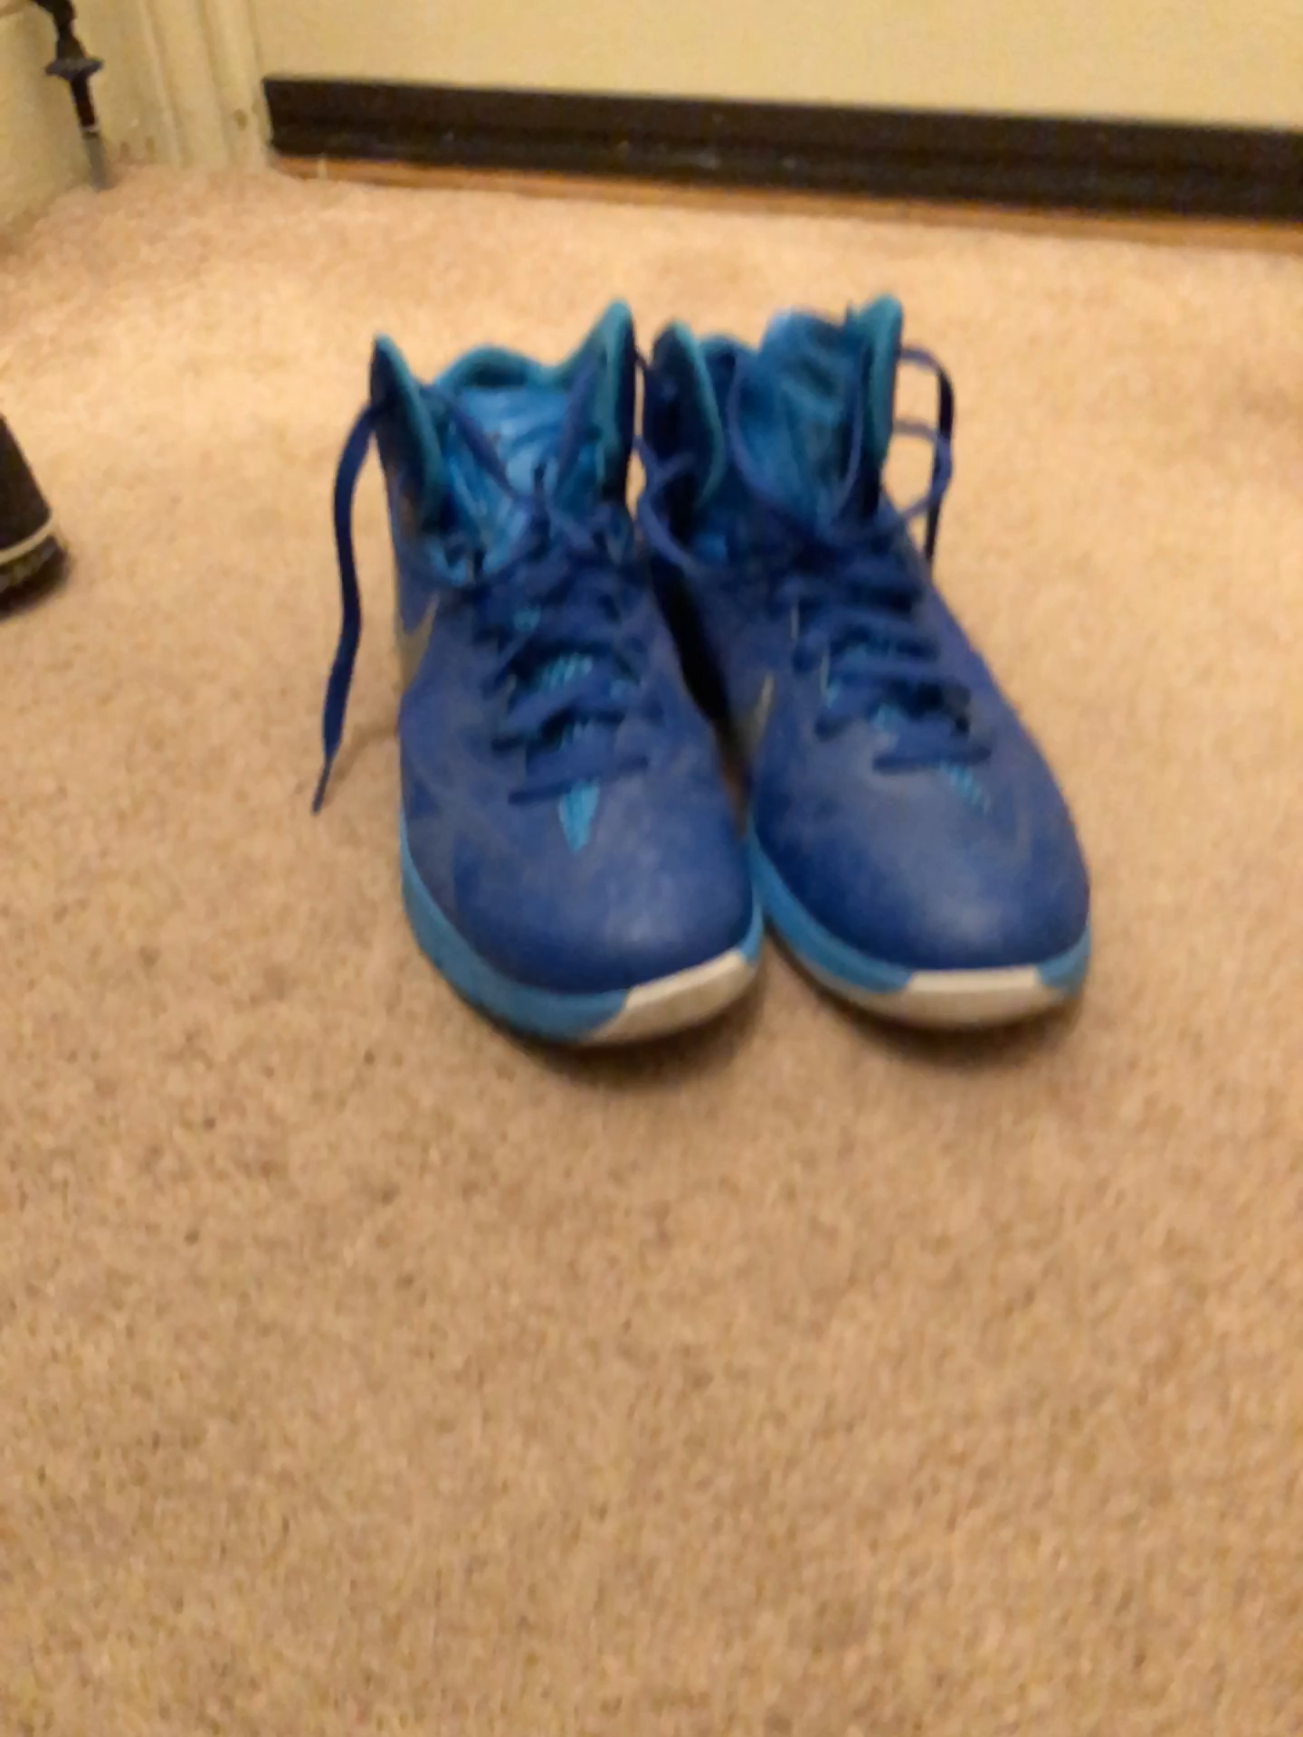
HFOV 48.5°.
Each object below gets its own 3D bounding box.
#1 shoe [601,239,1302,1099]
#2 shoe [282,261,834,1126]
[{"bbox_3d":[0.078,-0.086,0.483,0.122,0.134,0.281,-11,44,-9],"label":"shoe"},{"bbox_3d":[-0.044,-0.077,0.481,0.120,0.134,0.280,-10,43,-8],"label":"shoe"}]
